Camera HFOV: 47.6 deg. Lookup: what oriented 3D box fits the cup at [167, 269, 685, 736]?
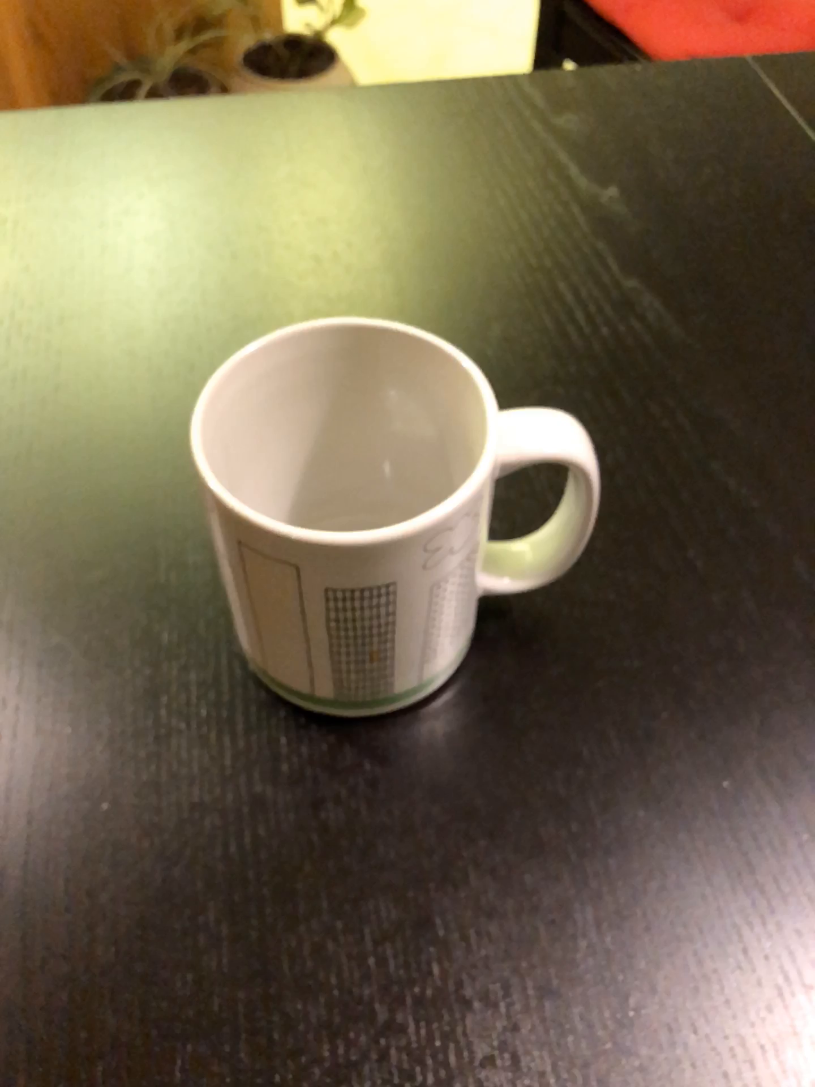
[{"bbox_3d":[0.000,-0.013,0.304,0.130,0.100,0.090,-10,54,-9],"label":"cup"}]
